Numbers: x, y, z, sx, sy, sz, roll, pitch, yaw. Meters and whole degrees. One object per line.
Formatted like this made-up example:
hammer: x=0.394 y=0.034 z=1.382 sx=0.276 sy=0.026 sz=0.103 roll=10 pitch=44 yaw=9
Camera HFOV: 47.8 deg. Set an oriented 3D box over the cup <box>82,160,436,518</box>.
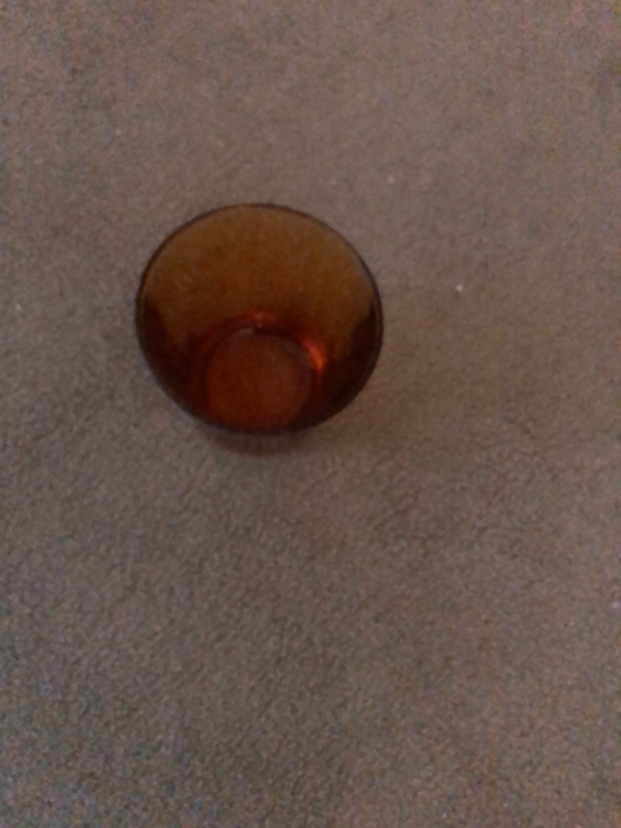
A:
cup: x=-0.016 y=-0.019 z=0.229 sx=0.070 sy=0.070 sz=0.070 roll=1 pitch=76 yaw=-5
